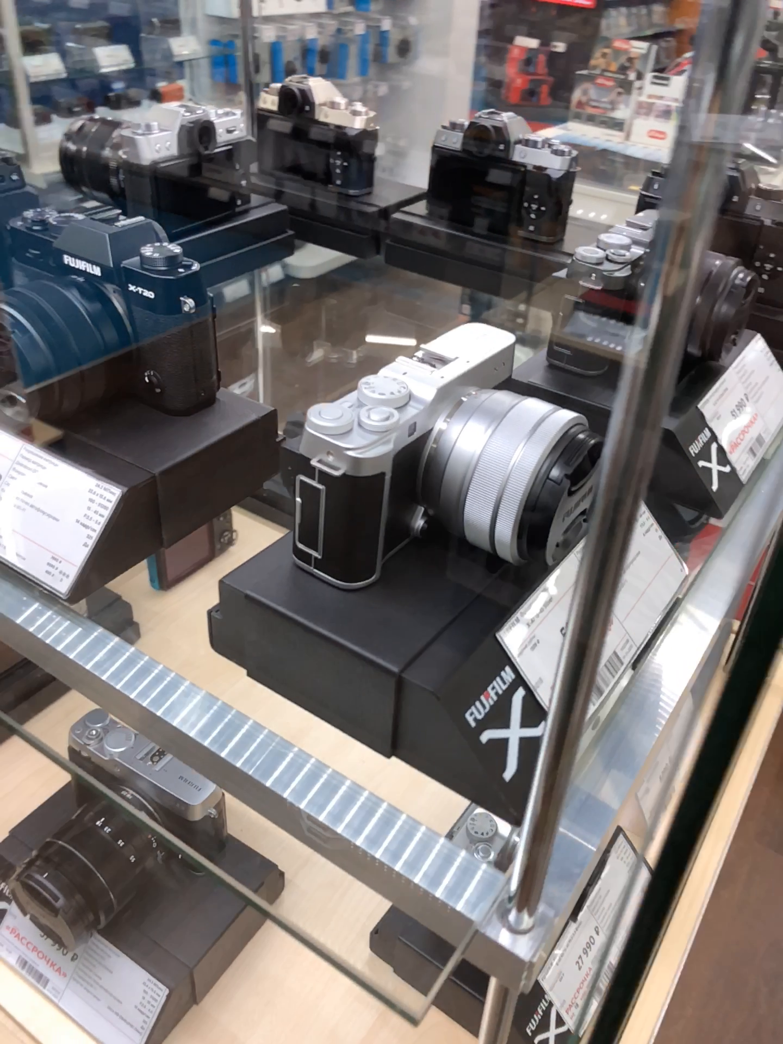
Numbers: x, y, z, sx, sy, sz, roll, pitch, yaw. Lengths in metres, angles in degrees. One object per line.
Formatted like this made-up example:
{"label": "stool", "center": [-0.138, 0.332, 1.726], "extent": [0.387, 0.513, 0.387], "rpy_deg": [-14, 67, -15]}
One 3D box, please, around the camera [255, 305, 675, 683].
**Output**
{"label": "camera", "center": [0.031, -0.022, 0.335], "extent": [0.100, 0.066, 0.134], "rpy_deg": [24, 39, 26]}
